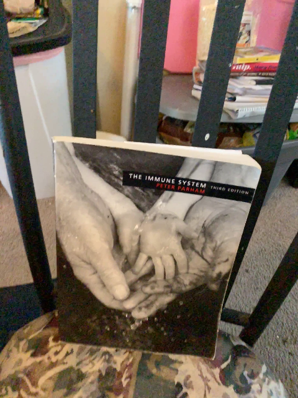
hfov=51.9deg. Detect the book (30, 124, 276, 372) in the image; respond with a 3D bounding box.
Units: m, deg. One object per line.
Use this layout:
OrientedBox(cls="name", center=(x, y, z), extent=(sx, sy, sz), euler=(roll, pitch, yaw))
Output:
OrientedBox(cls="book", center=(-0.006, 0.065, 0.342), extent=(0.220, 0.269, 0.040), euler=(6, 23, 4))
